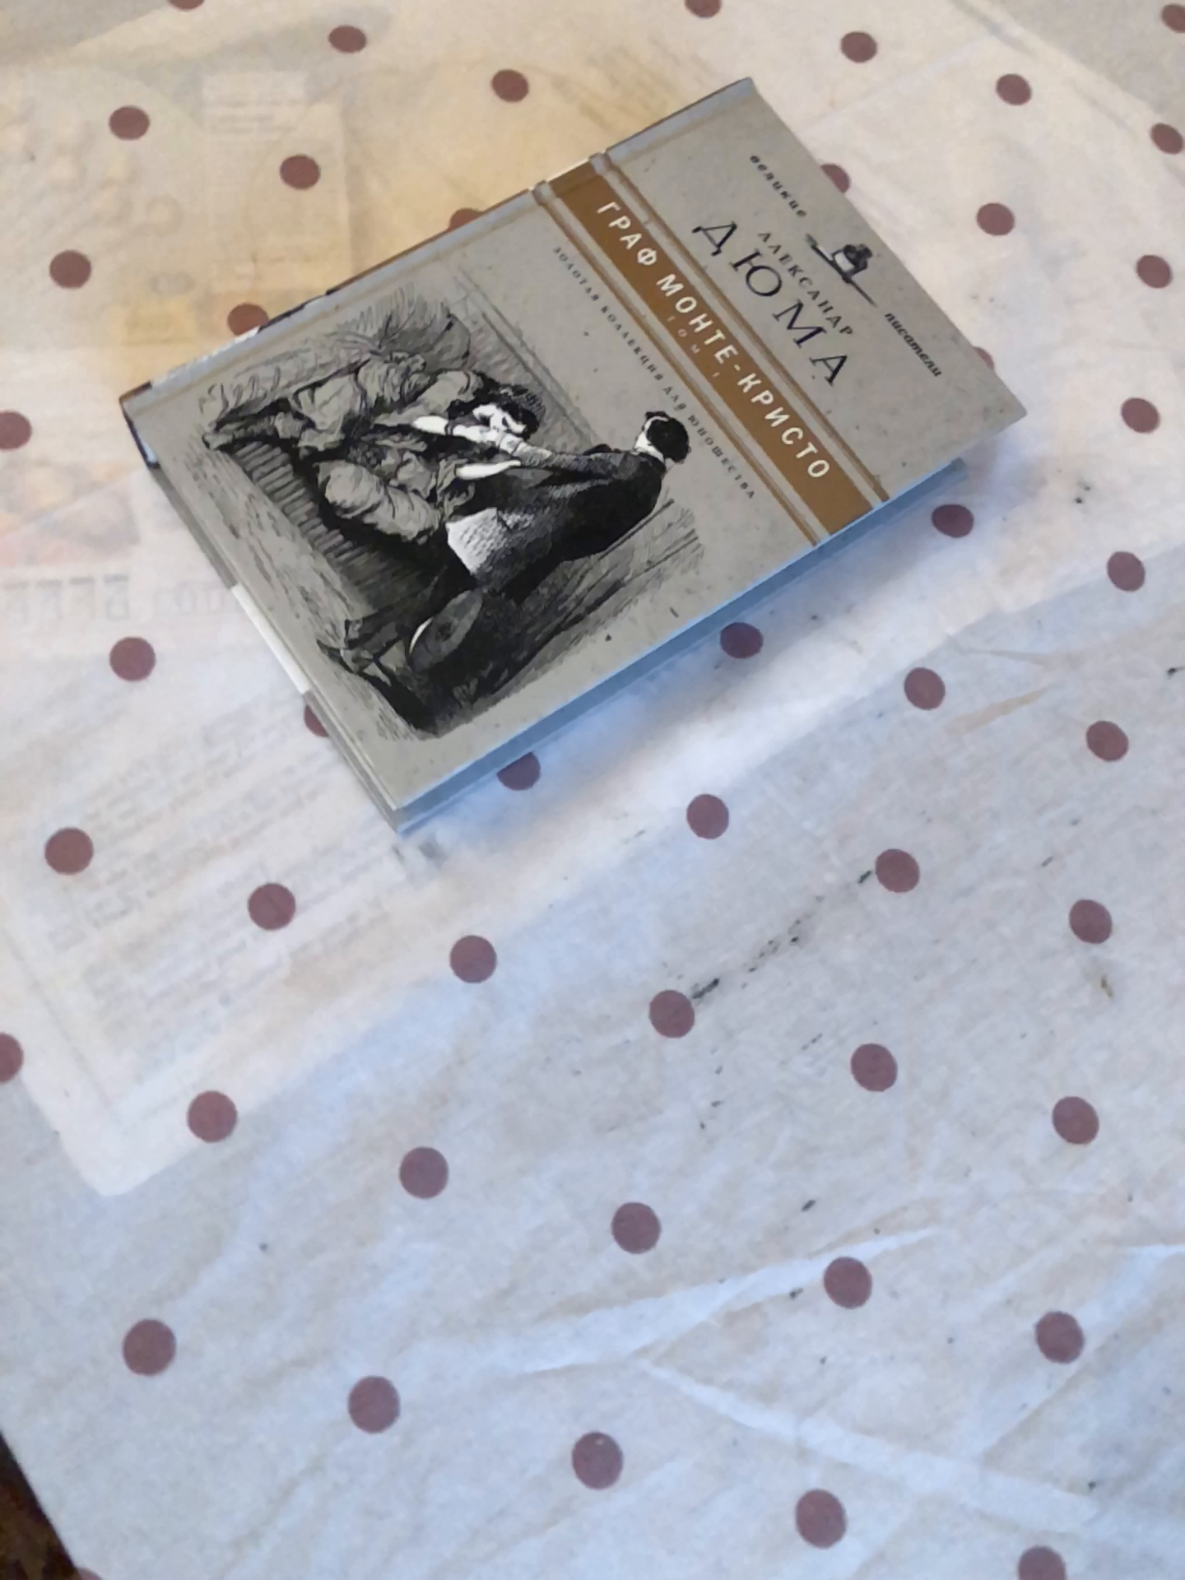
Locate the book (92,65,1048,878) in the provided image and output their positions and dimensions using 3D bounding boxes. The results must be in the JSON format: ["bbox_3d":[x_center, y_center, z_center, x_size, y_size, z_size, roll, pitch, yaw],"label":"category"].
[{"bbox_3d":[-0.003,-0.092,0.357,0.208,0.040,0.135,-33,79,-13],"label":"book"}]
